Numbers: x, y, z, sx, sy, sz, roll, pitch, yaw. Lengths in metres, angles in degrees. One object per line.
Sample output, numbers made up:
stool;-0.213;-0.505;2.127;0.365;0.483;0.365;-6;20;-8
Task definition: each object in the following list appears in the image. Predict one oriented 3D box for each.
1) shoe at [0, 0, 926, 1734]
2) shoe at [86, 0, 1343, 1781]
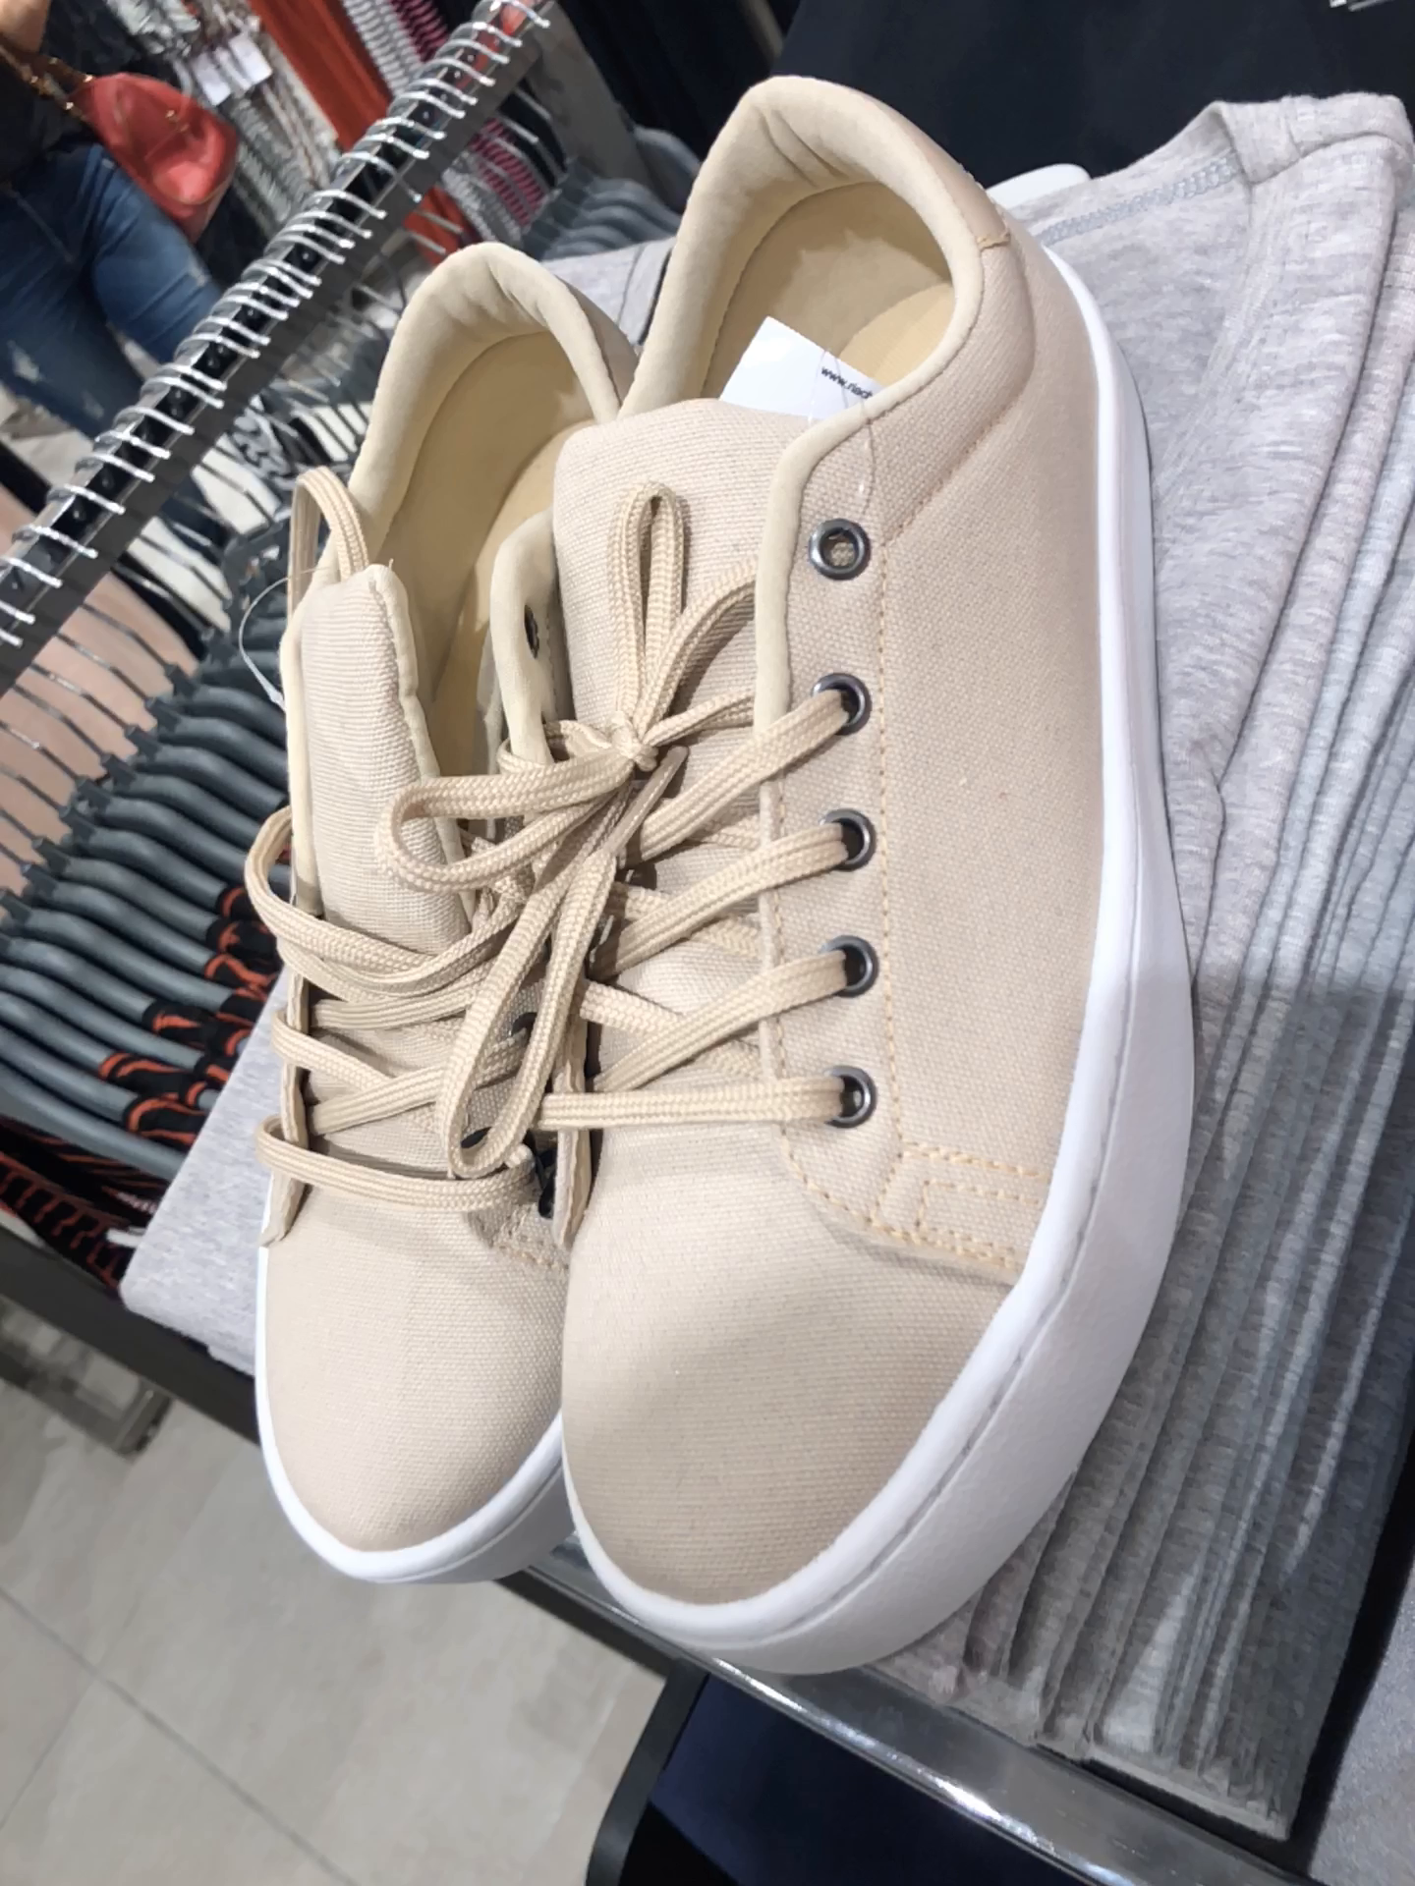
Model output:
shoe;-0.043;-0.018;0.303;0.100;0.109;0.281;4;72;26
shoe;0.031;-0.035;0.275;0.110;0.109;0.291;-3;57;33
